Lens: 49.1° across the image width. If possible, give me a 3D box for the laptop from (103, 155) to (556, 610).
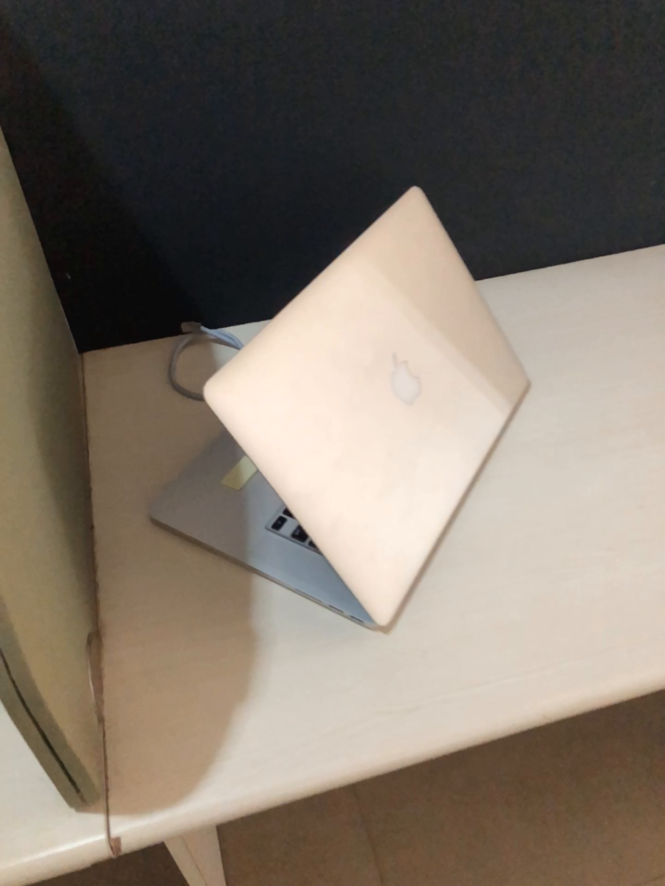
[{"bbox_3d":[0.021,-0.081,0.668,0.235,0.198,0.345,21,48,21],"label":"laptop"}]
